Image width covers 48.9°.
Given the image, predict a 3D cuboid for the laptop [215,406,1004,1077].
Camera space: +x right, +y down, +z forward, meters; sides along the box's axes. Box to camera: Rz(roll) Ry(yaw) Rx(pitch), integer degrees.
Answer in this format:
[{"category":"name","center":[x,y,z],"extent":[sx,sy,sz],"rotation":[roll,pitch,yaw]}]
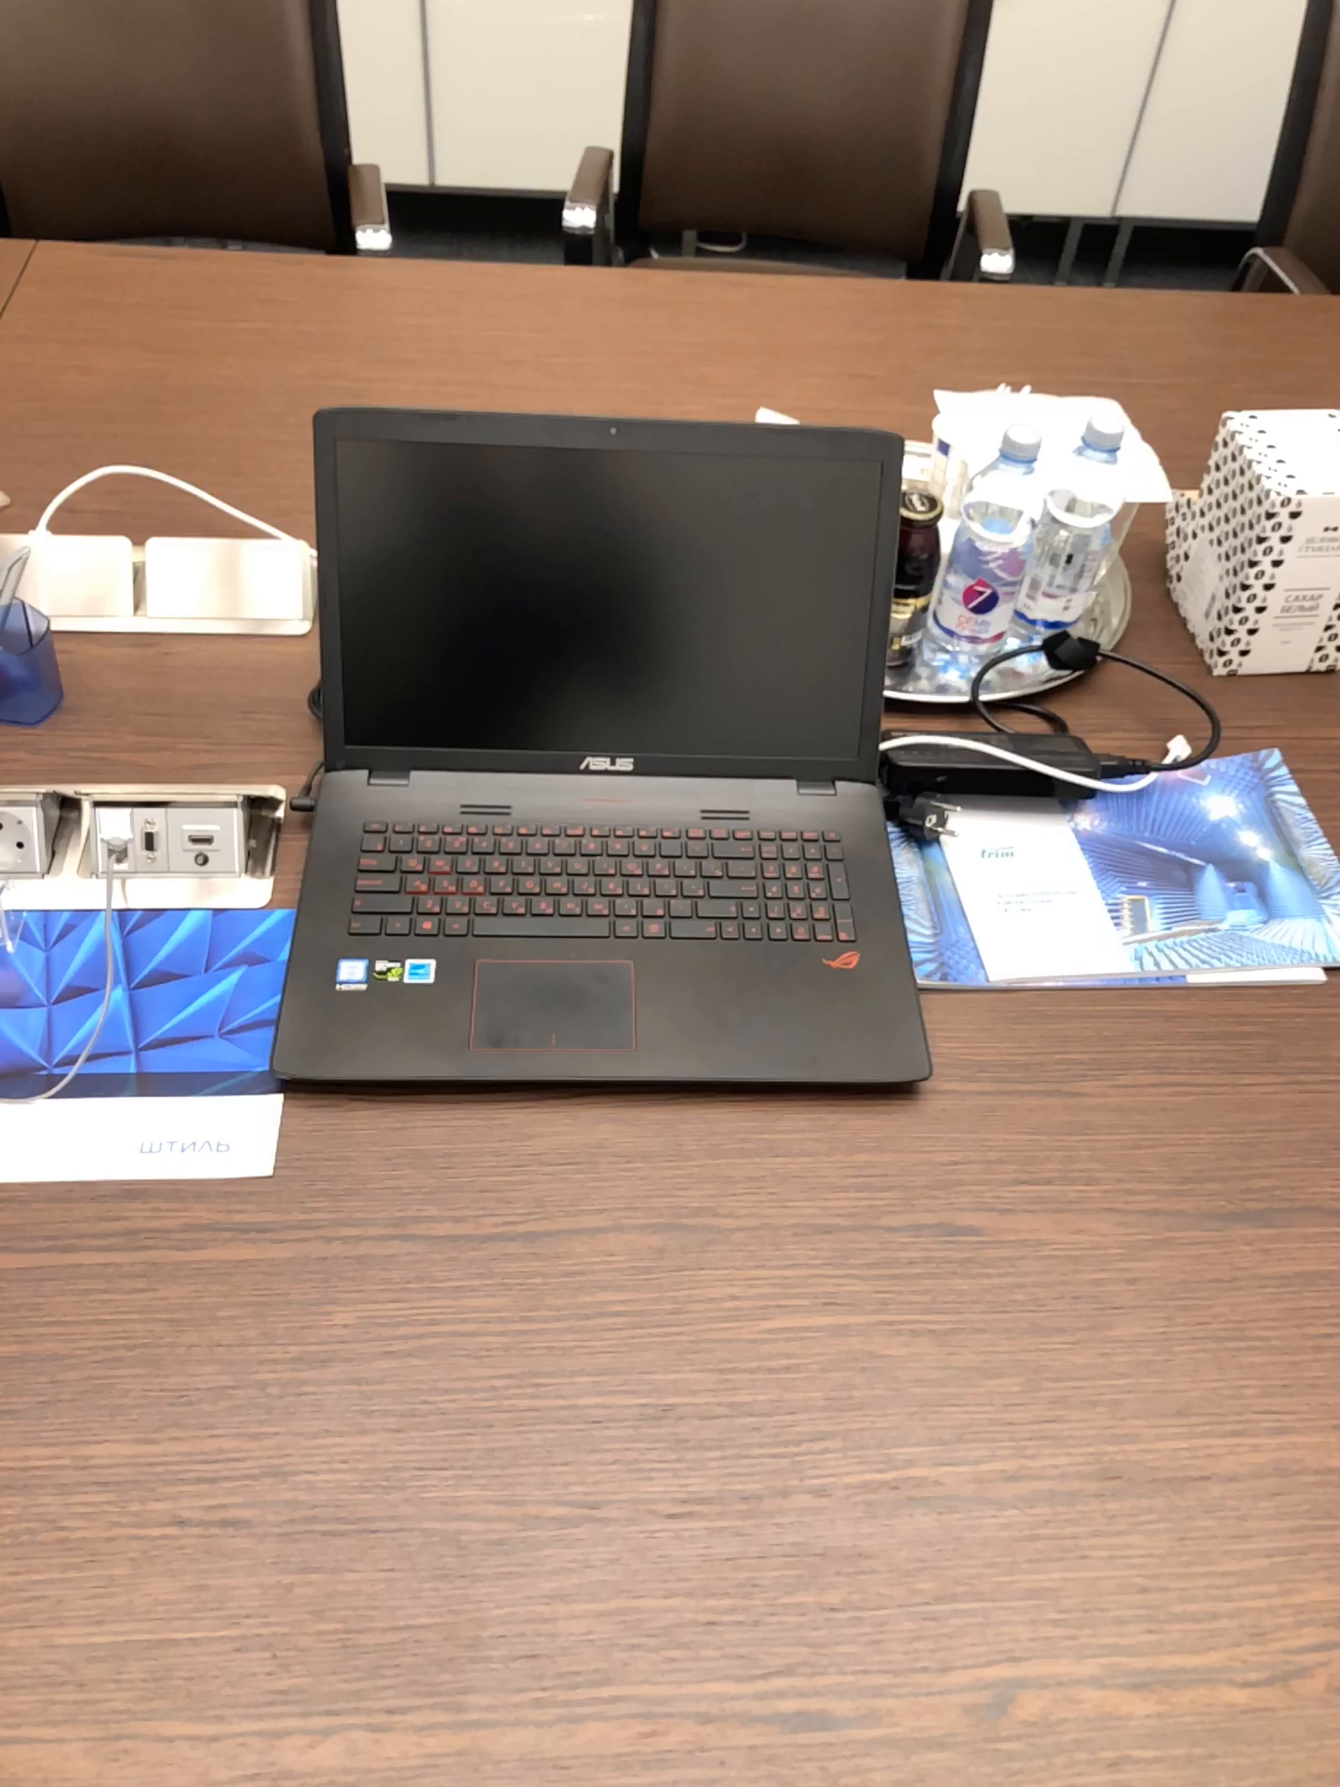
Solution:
[{"category":"laptop","center":[-0.039,-0.101,0.900],"extent":[0.379,0.194,0.370],"rotation":[1,49,-5]}]
